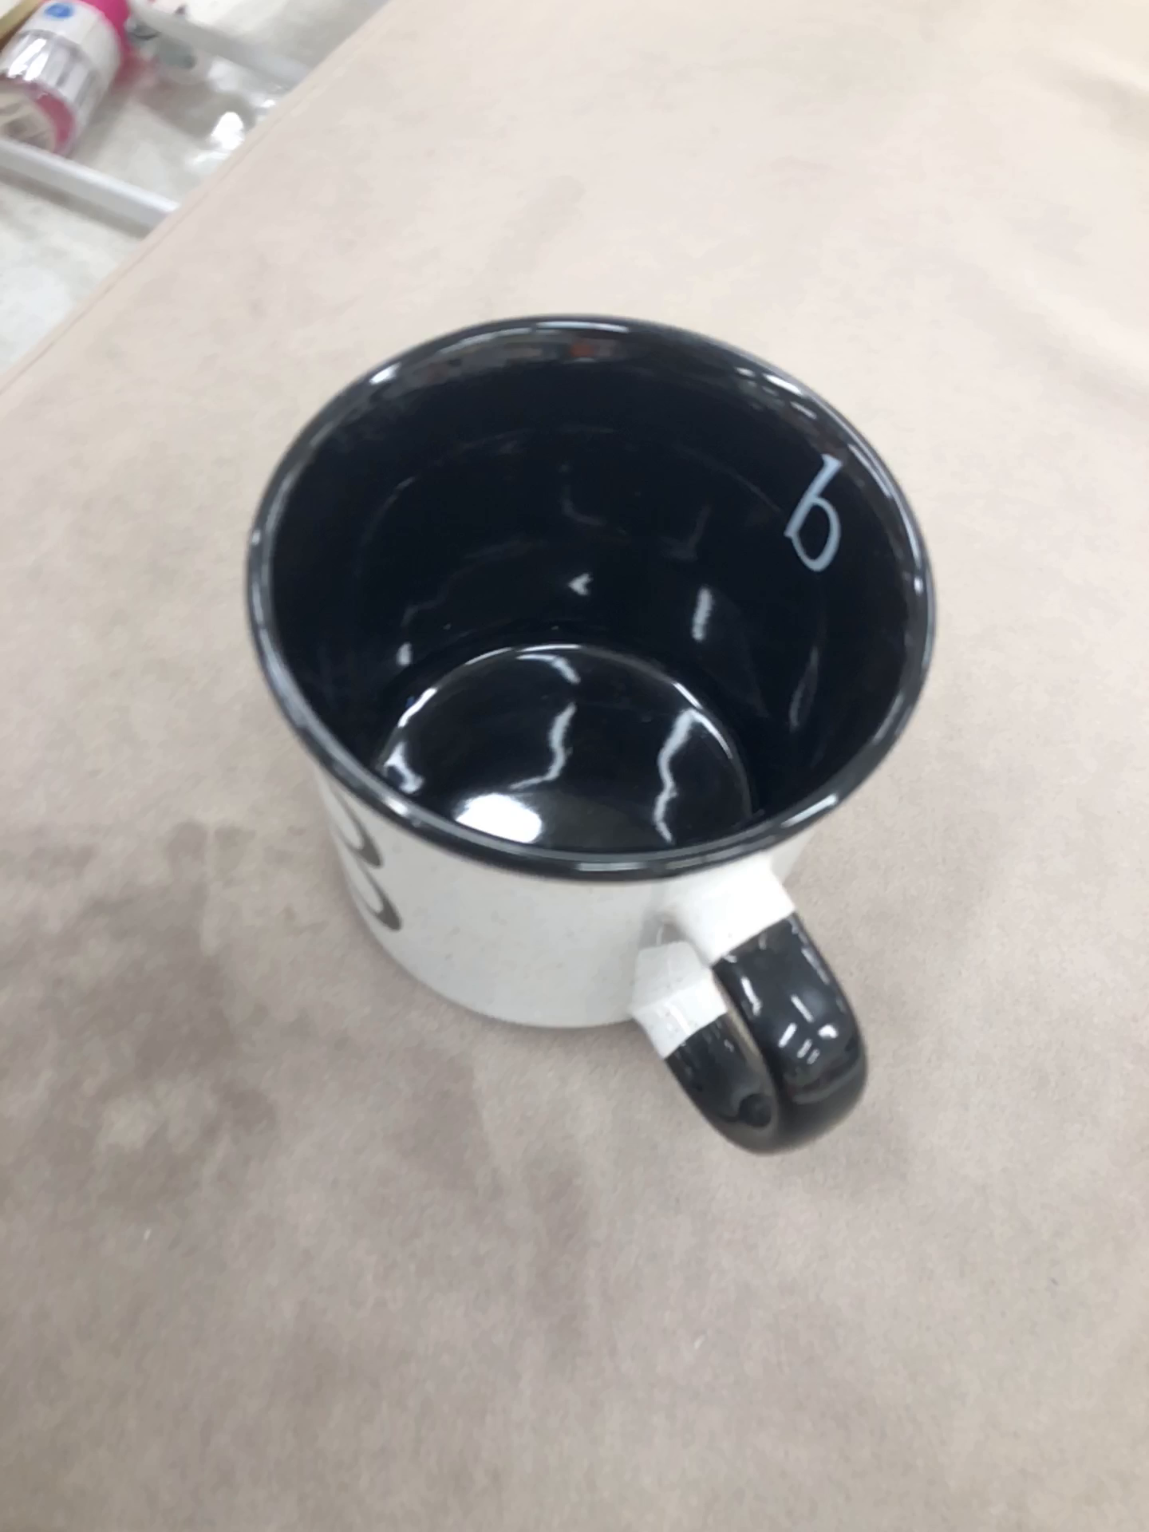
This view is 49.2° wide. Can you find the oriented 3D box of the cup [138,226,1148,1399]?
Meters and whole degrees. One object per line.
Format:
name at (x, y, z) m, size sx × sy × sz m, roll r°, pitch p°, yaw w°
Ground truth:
cup at (0.012, 0.006, 0.215) m, size 0.100 × 0.090 × 0.150 m, roll -26°, pitch 66°, yaw -17°
